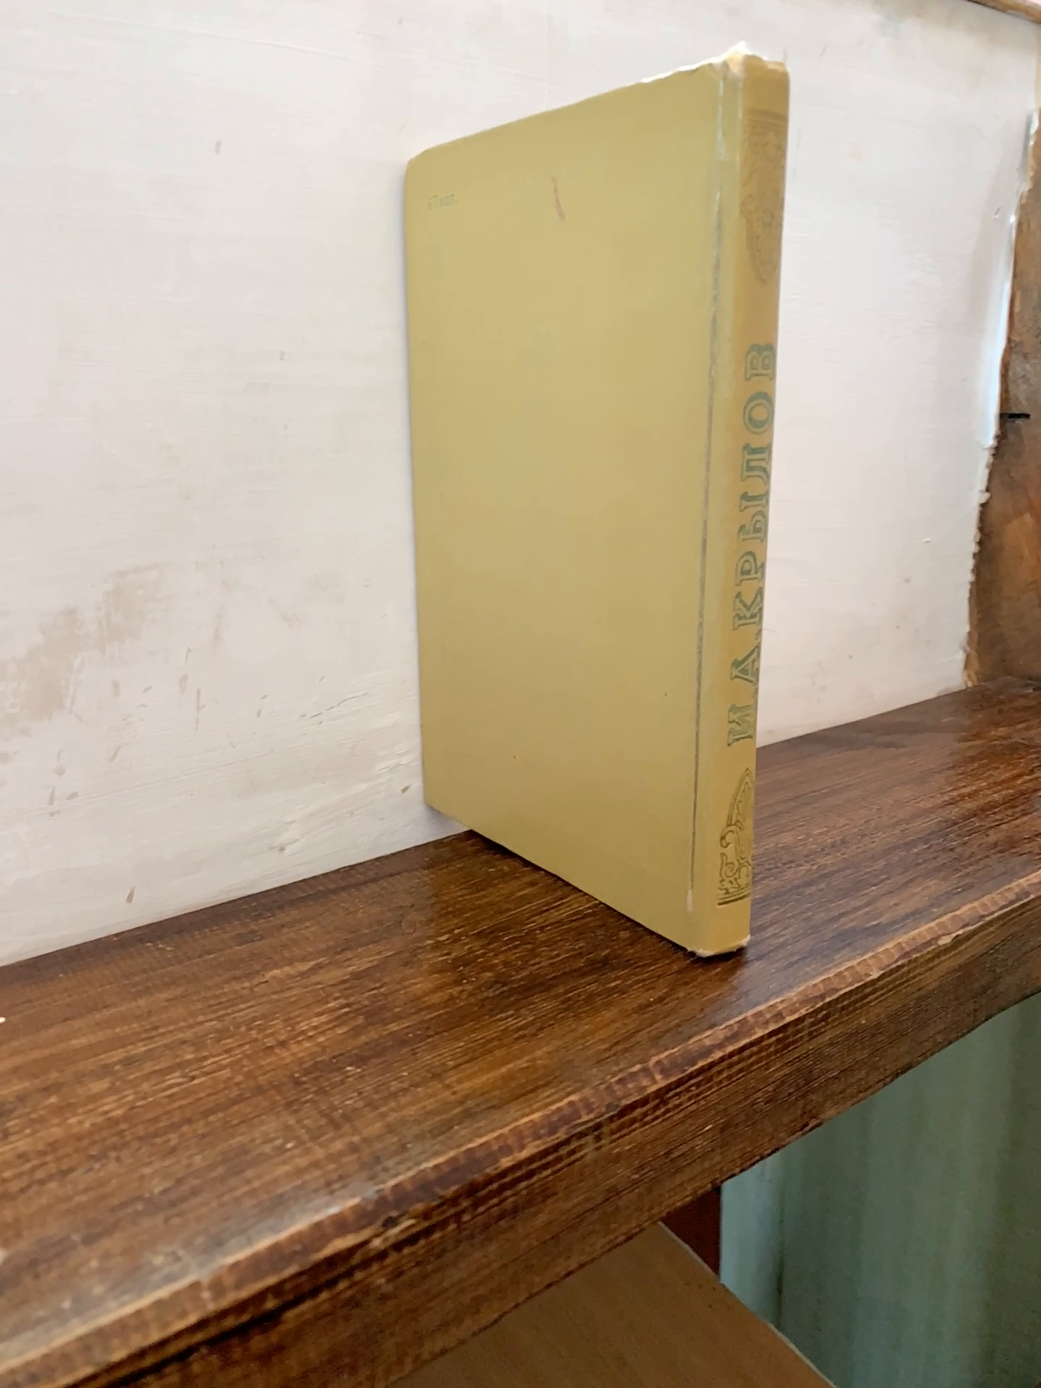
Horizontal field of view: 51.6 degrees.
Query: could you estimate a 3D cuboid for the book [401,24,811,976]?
[{"bbox_3d":[0.013,-0.047,0.292,0.020,0.205,0.132,-11,18,-35],"label":"book"}]
